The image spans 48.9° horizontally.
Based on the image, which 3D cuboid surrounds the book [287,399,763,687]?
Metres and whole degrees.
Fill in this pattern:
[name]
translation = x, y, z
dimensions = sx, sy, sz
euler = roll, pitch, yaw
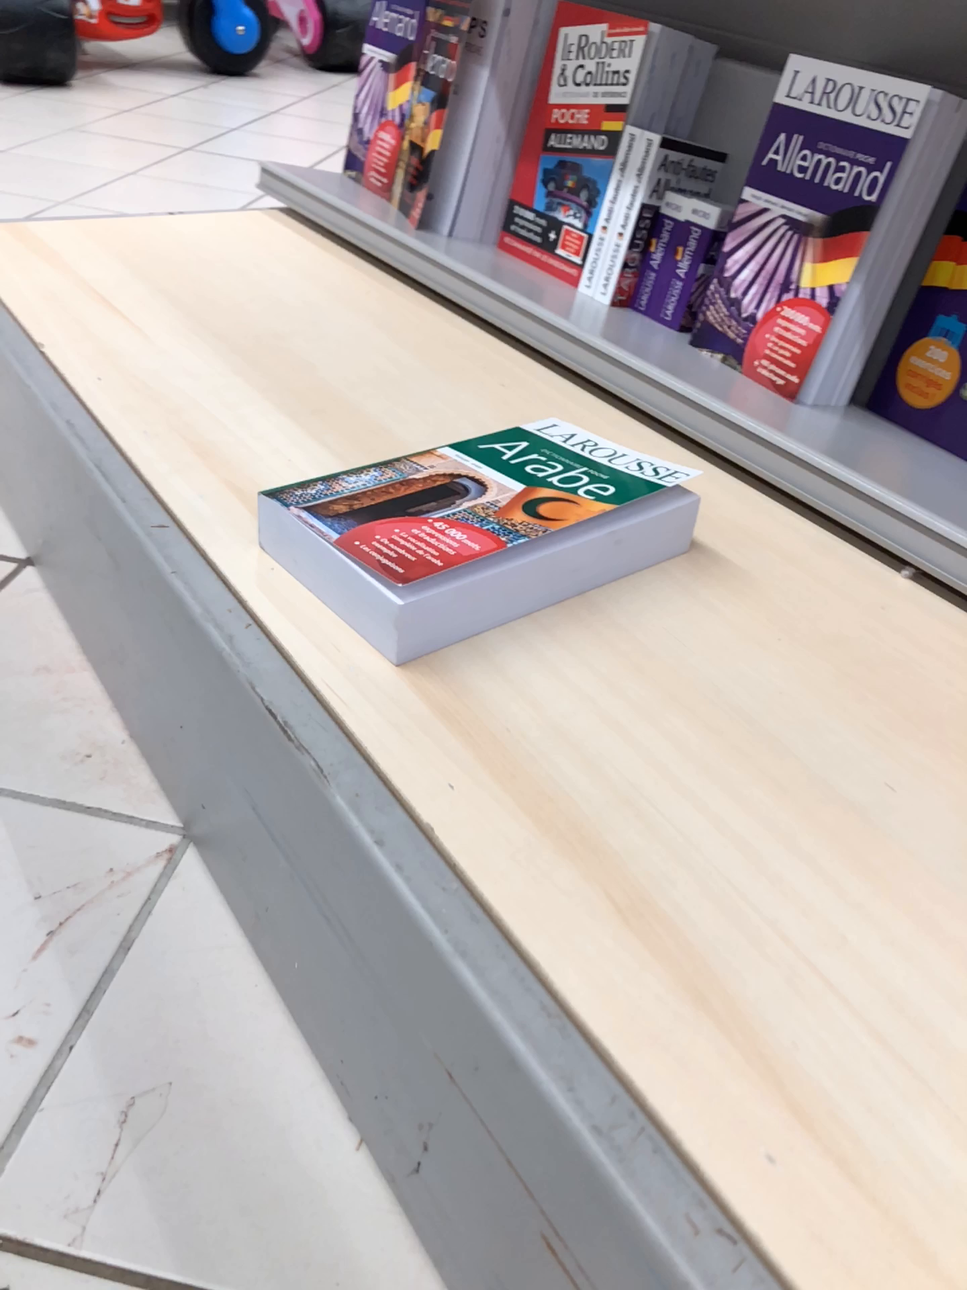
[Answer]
[book]
translation = 0.020, -0.056, 0.482
dimensions = 0.183, 0.045, 0.111
euler = -19, 43, -33
